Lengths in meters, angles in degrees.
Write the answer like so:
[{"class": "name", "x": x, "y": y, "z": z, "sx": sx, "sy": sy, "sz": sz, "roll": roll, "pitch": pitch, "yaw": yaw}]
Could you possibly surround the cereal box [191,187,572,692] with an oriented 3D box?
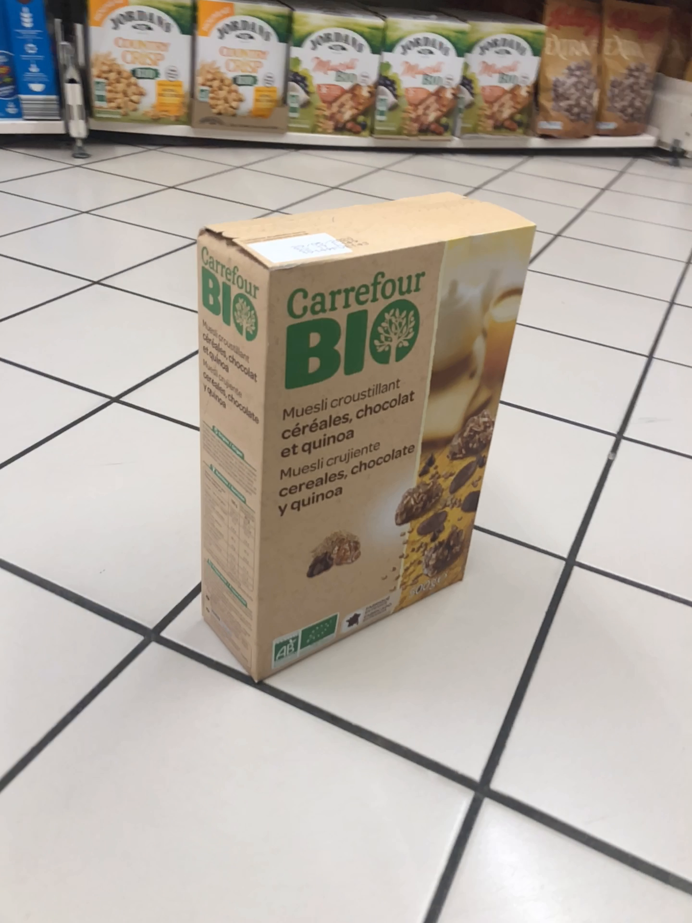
[{"class": "cereal box", "x": 0.014, "y": -0.015, "z": 0.409, "sx": 0.171, "sy": 0.229, "sz": 0.070, "roll": -19, "pitch": 39, "yaw": -33}]
